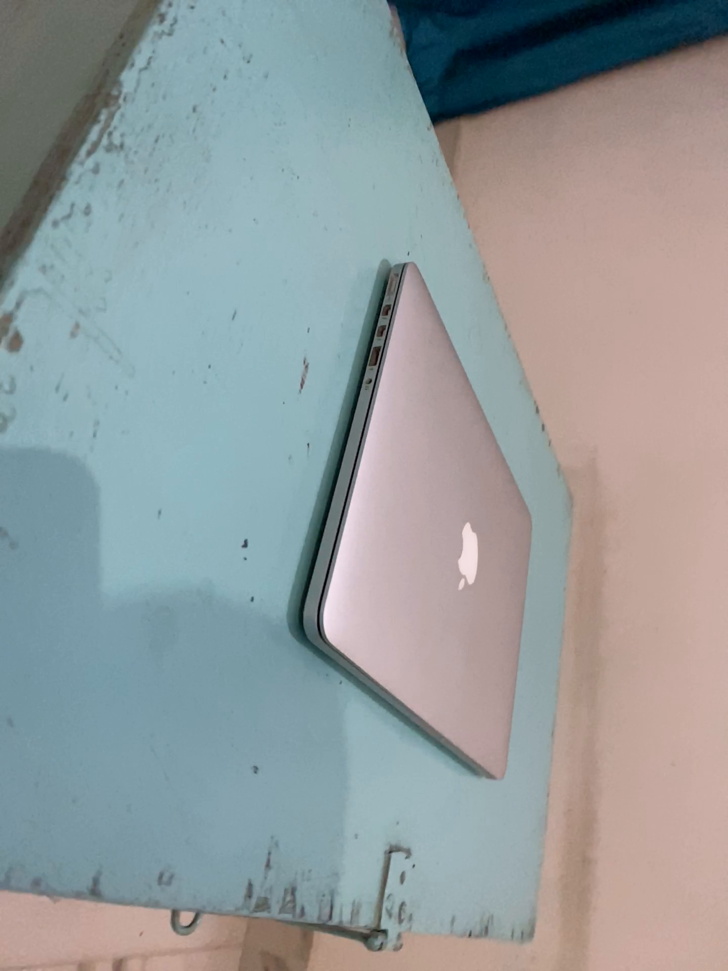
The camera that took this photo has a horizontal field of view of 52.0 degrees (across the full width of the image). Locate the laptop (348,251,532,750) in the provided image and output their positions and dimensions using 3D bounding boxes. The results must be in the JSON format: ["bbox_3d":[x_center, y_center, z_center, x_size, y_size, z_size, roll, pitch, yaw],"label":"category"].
[{"bbox_3d":[0.069,0.032,0.475,0.292,0.007,0.209,52,42,-53],"label":"laptop"}]
